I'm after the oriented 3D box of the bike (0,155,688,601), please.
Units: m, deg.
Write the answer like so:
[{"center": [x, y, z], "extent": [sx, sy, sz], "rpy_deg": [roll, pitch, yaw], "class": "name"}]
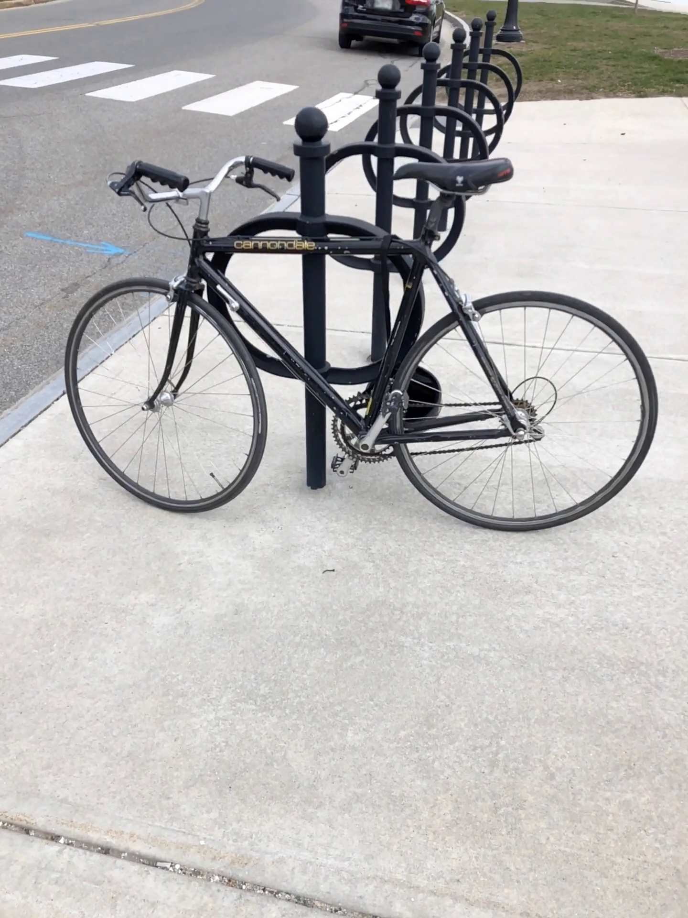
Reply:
[{"center": [-0.030, -0.206, 1.703], "extent": [1.382, 0.805, 0.488], "rpy_deg": [5, 34, 10], "class": "bike"}]
